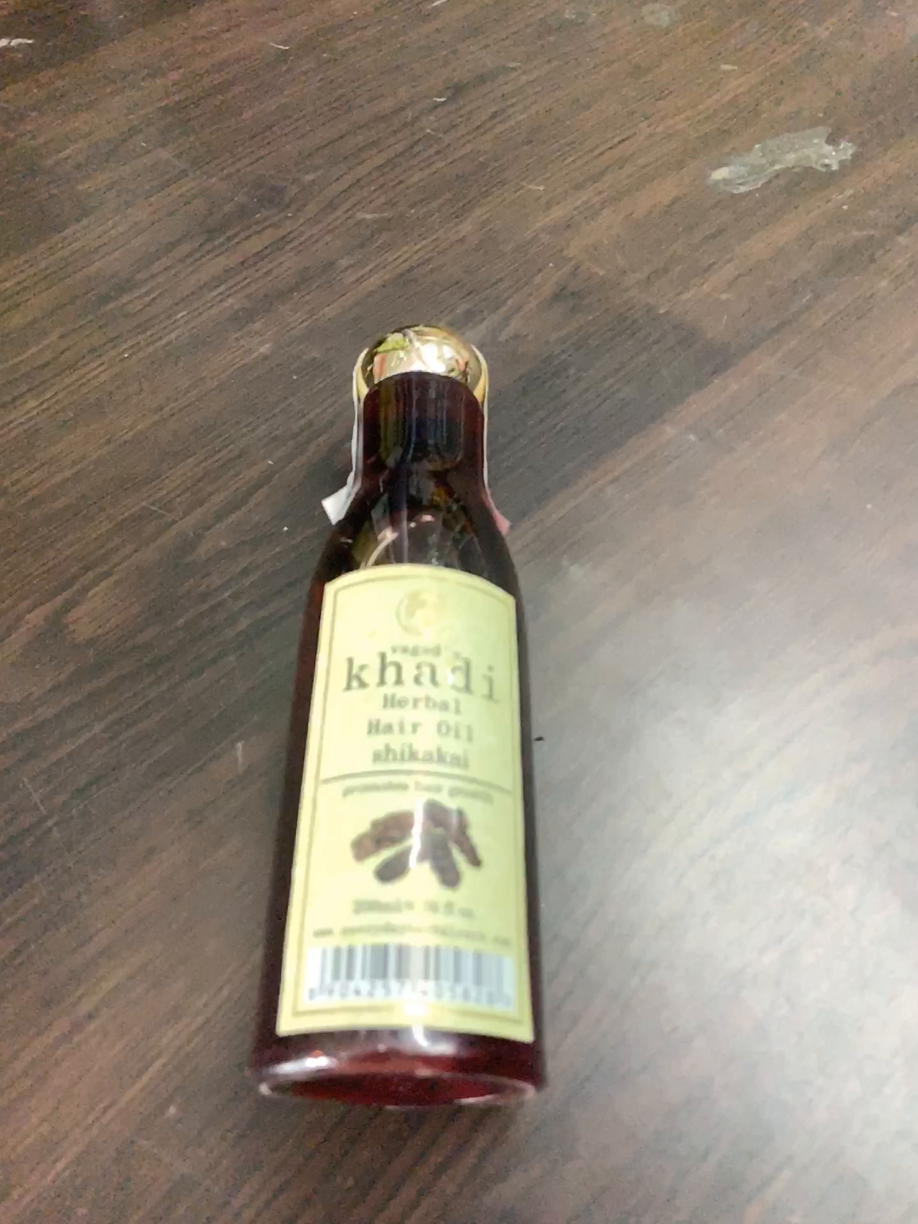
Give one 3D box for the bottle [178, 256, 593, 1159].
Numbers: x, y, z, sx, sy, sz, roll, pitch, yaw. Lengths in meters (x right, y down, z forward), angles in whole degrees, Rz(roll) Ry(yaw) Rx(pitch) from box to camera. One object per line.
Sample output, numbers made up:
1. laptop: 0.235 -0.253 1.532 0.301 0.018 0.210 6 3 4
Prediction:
1. bottle: -0.008 0.005 0.183 0.050 0.050 0.170 2 55 -1
